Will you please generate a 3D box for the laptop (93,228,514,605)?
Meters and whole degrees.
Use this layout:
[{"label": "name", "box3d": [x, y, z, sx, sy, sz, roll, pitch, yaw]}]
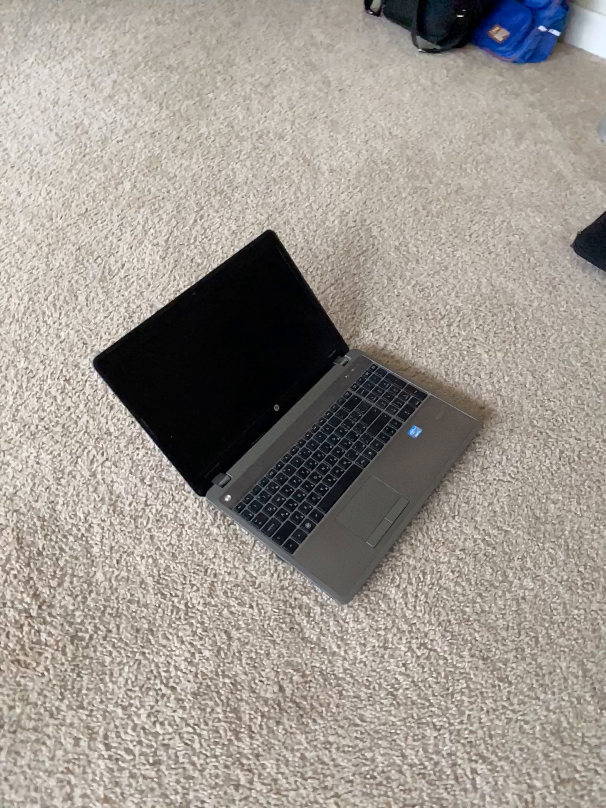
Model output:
[{"label": "laptop", "box3d": [0.002, -0.015, 0.902, 0.435, 0.162, 0.375, 33, 59, 22]}]
